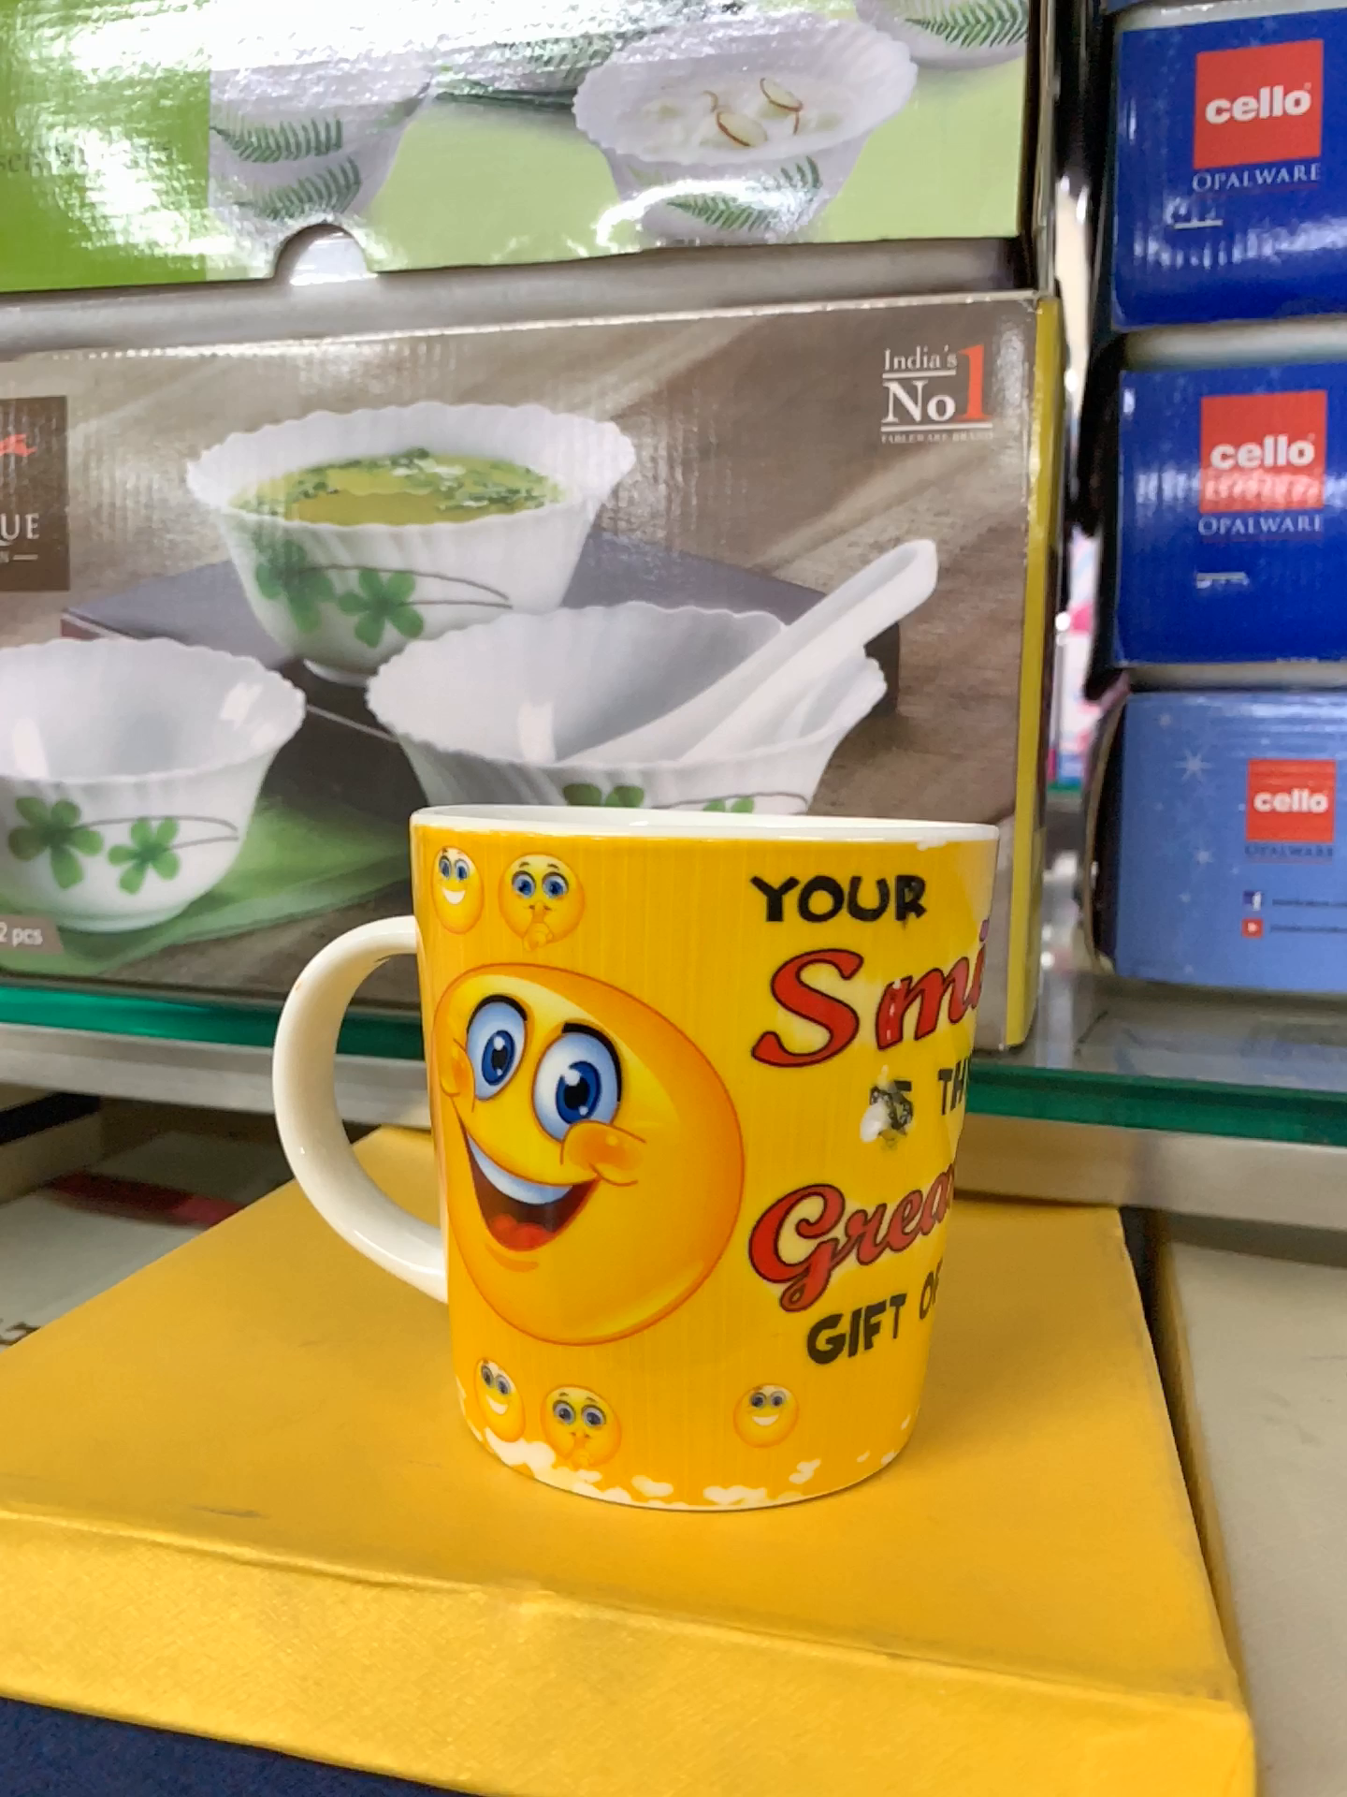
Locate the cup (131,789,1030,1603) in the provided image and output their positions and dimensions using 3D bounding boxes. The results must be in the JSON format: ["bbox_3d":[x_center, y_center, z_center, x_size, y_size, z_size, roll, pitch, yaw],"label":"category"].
[{"bbox_3d":[-0.015,0.031,0.223,0.120,0.090,0.070,5,7,28],"label":"cup"}]
